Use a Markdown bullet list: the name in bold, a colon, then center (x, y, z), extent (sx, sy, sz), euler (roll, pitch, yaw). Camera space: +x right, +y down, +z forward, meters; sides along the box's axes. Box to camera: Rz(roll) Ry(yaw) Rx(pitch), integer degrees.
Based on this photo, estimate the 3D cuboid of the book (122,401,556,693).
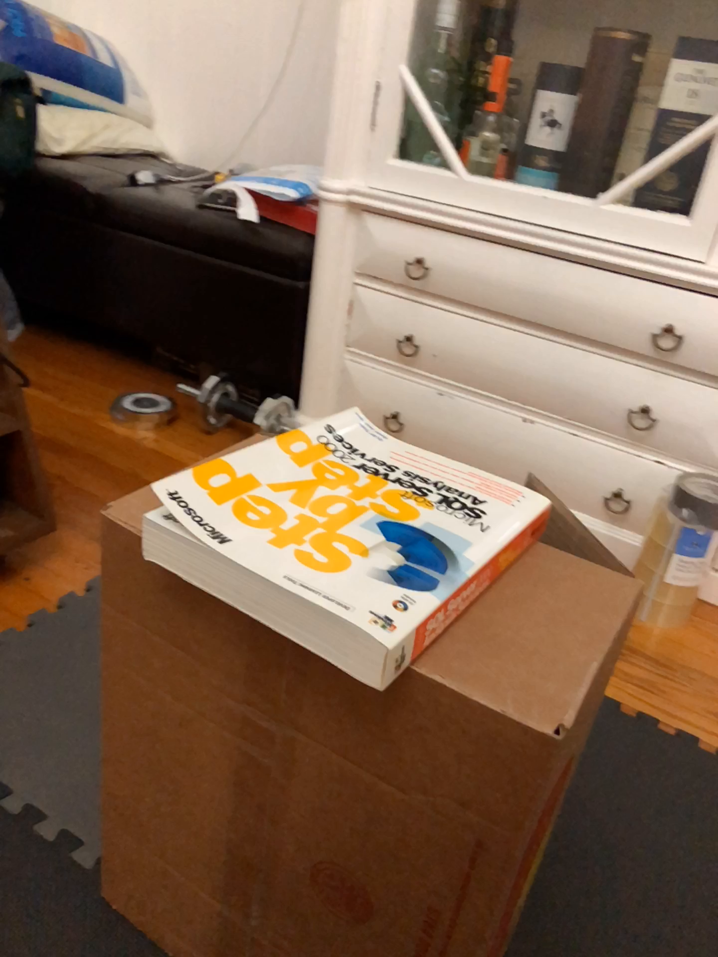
- **book**: center (-0.001, 0.023, 0.545), extent (0.200, 0.050, 0.241), euler (19, 27, 25)
